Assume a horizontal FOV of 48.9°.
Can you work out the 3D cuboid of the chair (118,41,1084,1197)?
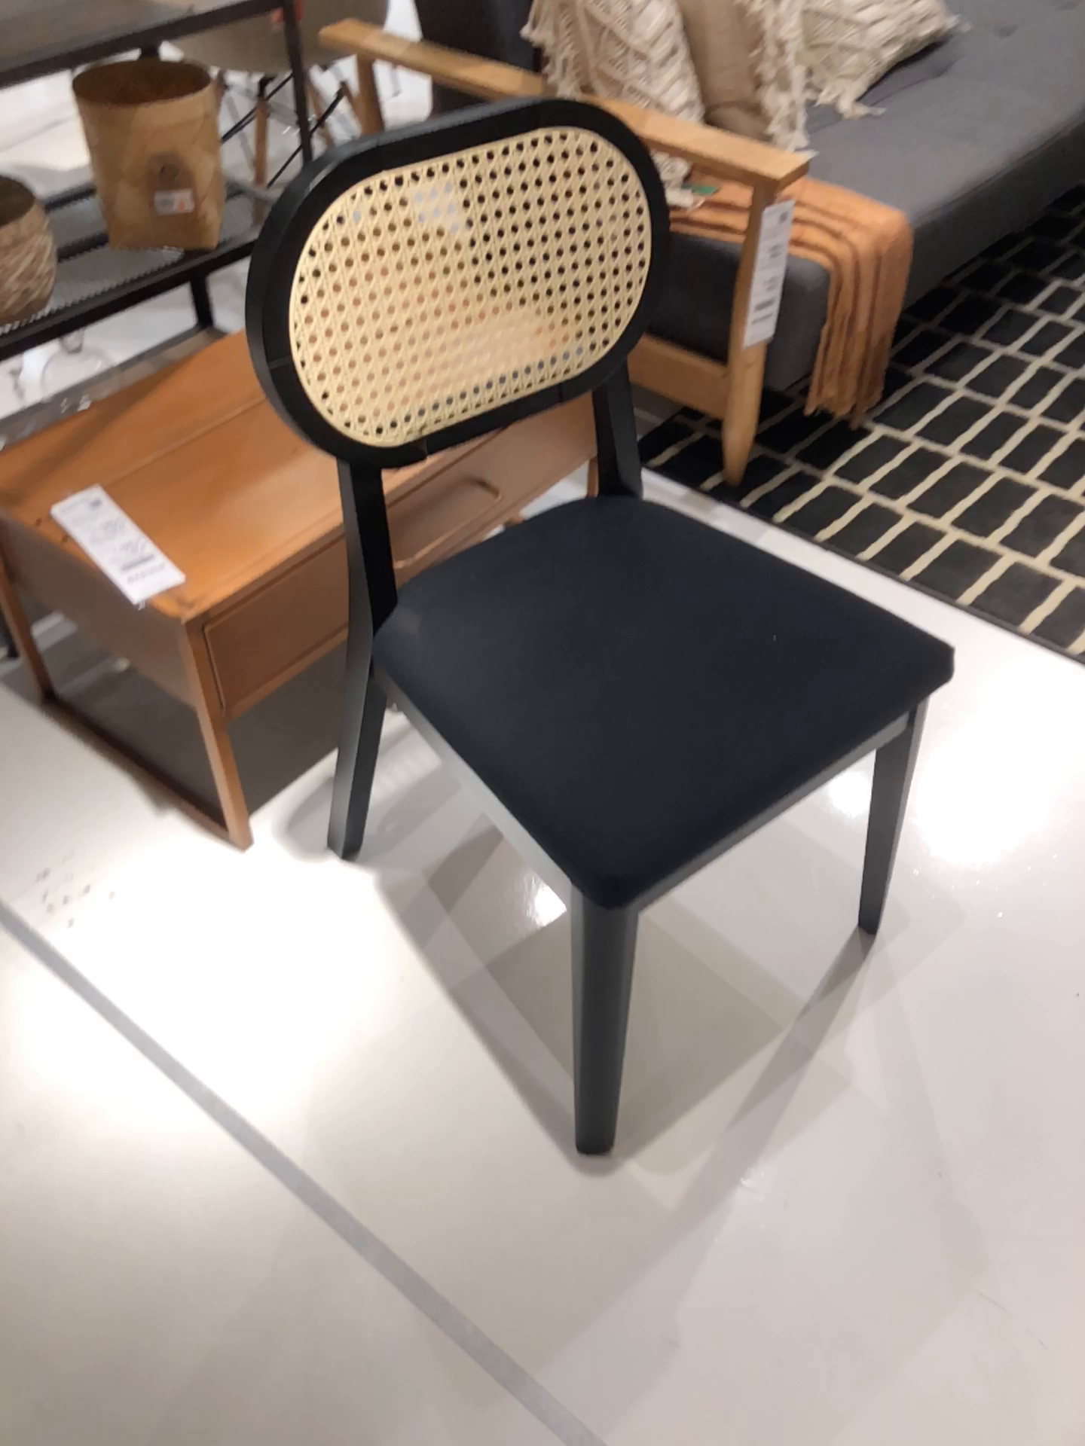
[{"bbox_3d":[0.053,-0.089,1.131,0.502,0.804,0.542,-32,53,-29],"label":"chair"}]
